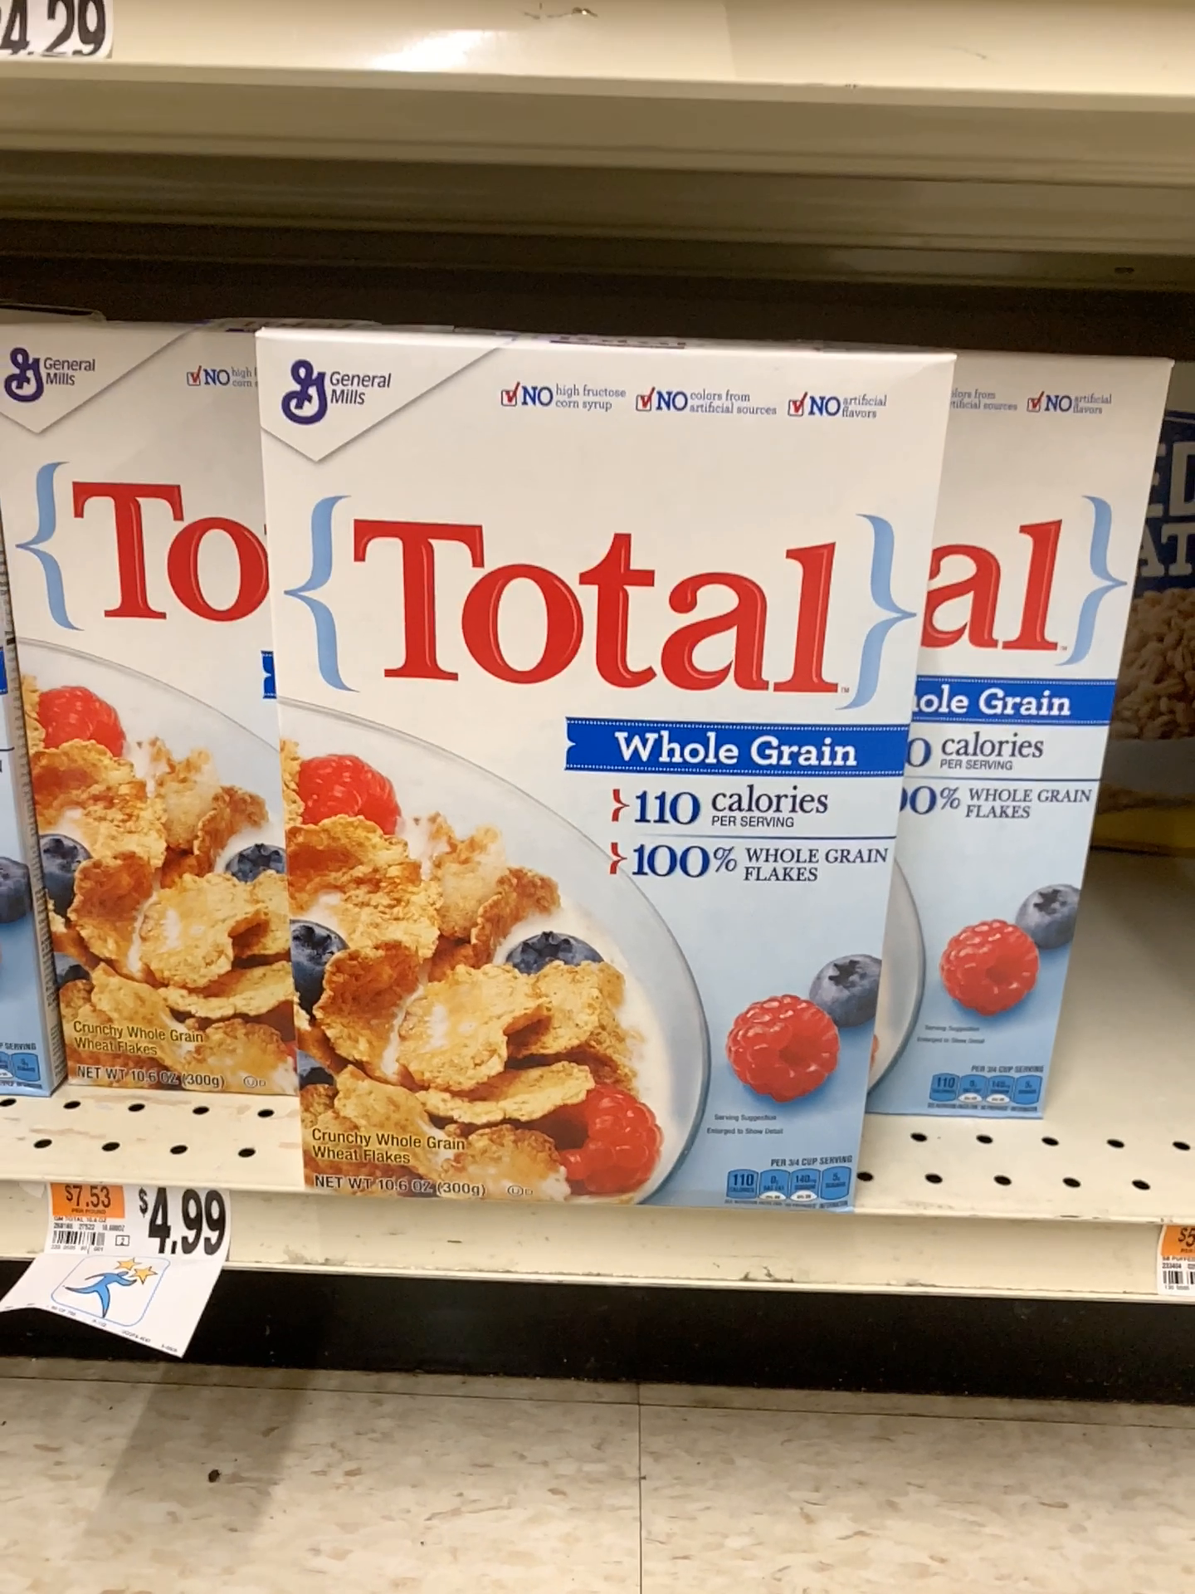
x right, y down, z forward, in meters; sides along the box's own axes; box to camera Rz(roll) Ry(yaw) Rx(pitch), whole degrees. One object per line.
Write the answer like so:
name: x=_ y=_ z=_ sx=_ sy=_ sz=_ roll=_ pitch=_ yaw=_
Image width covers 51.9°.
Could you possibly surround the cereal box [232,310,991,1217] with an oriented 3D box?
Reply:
cereal box: x=0.000 y=-0.002 z=0.393 sx=0.200 sy=0.279 sz=0.050 roll=2 pitch=20 yaw=1
